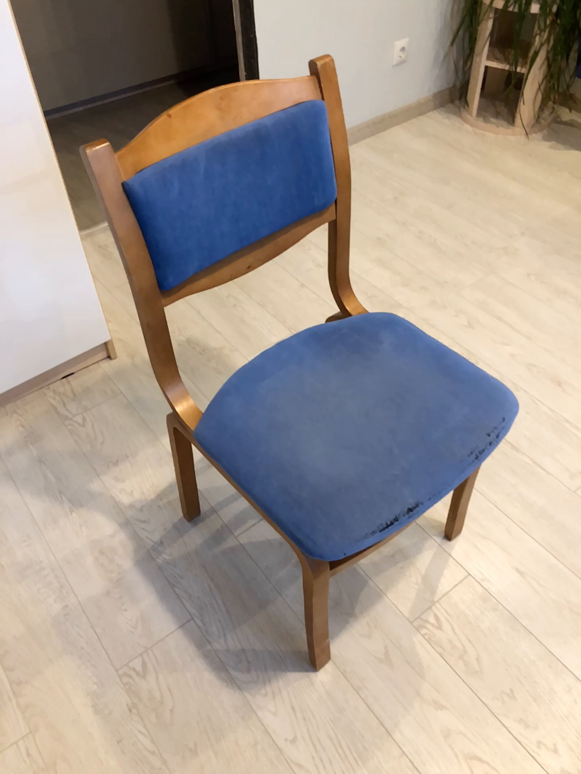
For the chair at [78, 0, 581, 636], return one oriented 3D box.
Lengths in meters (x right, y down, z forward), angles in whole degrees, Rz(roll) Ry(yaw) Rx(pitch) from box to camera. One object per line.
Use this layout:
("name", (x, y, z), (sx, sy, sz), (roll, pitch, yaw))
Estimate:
("chair", (0.094, -0.071, 1.013), (0.451, 0.805, 0.472), (-33, 56, -22))
